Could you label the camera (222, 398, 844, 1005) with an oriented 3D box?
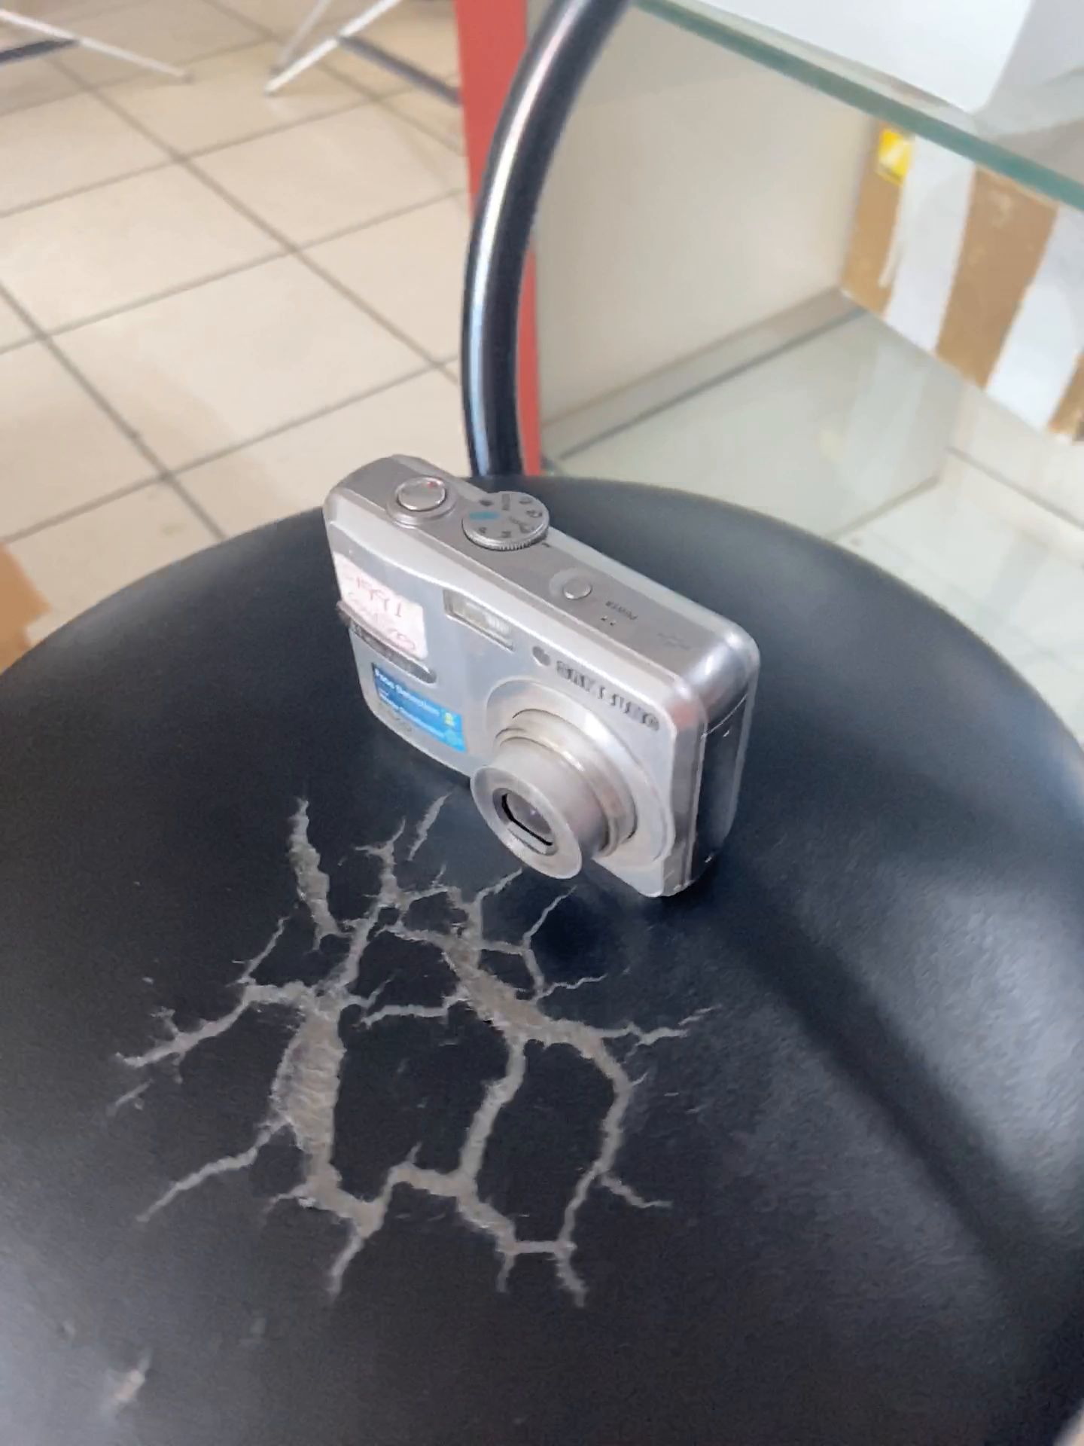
[{"bbox_3d":[-0.004,-0.007,0.218,0.100,0.060,0.050,34,58,26],"label":"camera"}]
